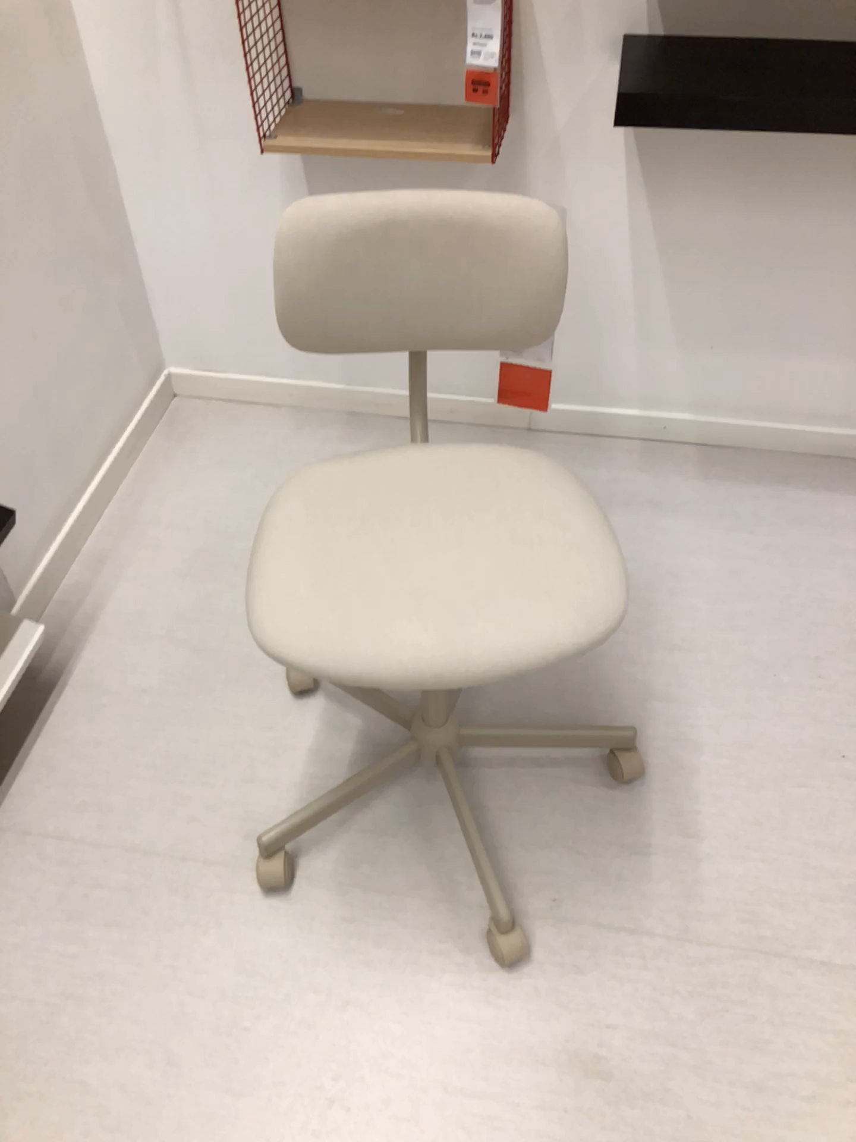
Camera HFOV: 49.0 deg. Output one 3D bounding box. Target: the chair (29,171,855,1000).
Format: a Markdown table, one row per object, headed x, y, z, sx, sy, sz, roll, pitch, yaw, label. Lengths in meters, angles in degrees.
| x | y | z | sx | sy | sz | roll | pitch | yaw | label |
| --- | --- | --- | --- | --- | --- | --- | --- | --- | --- |
| 0.020 | 0.031 | 1.205 | 0.640 | 0.765 | 0.695 | -3 | 46 | -1 | chair |
